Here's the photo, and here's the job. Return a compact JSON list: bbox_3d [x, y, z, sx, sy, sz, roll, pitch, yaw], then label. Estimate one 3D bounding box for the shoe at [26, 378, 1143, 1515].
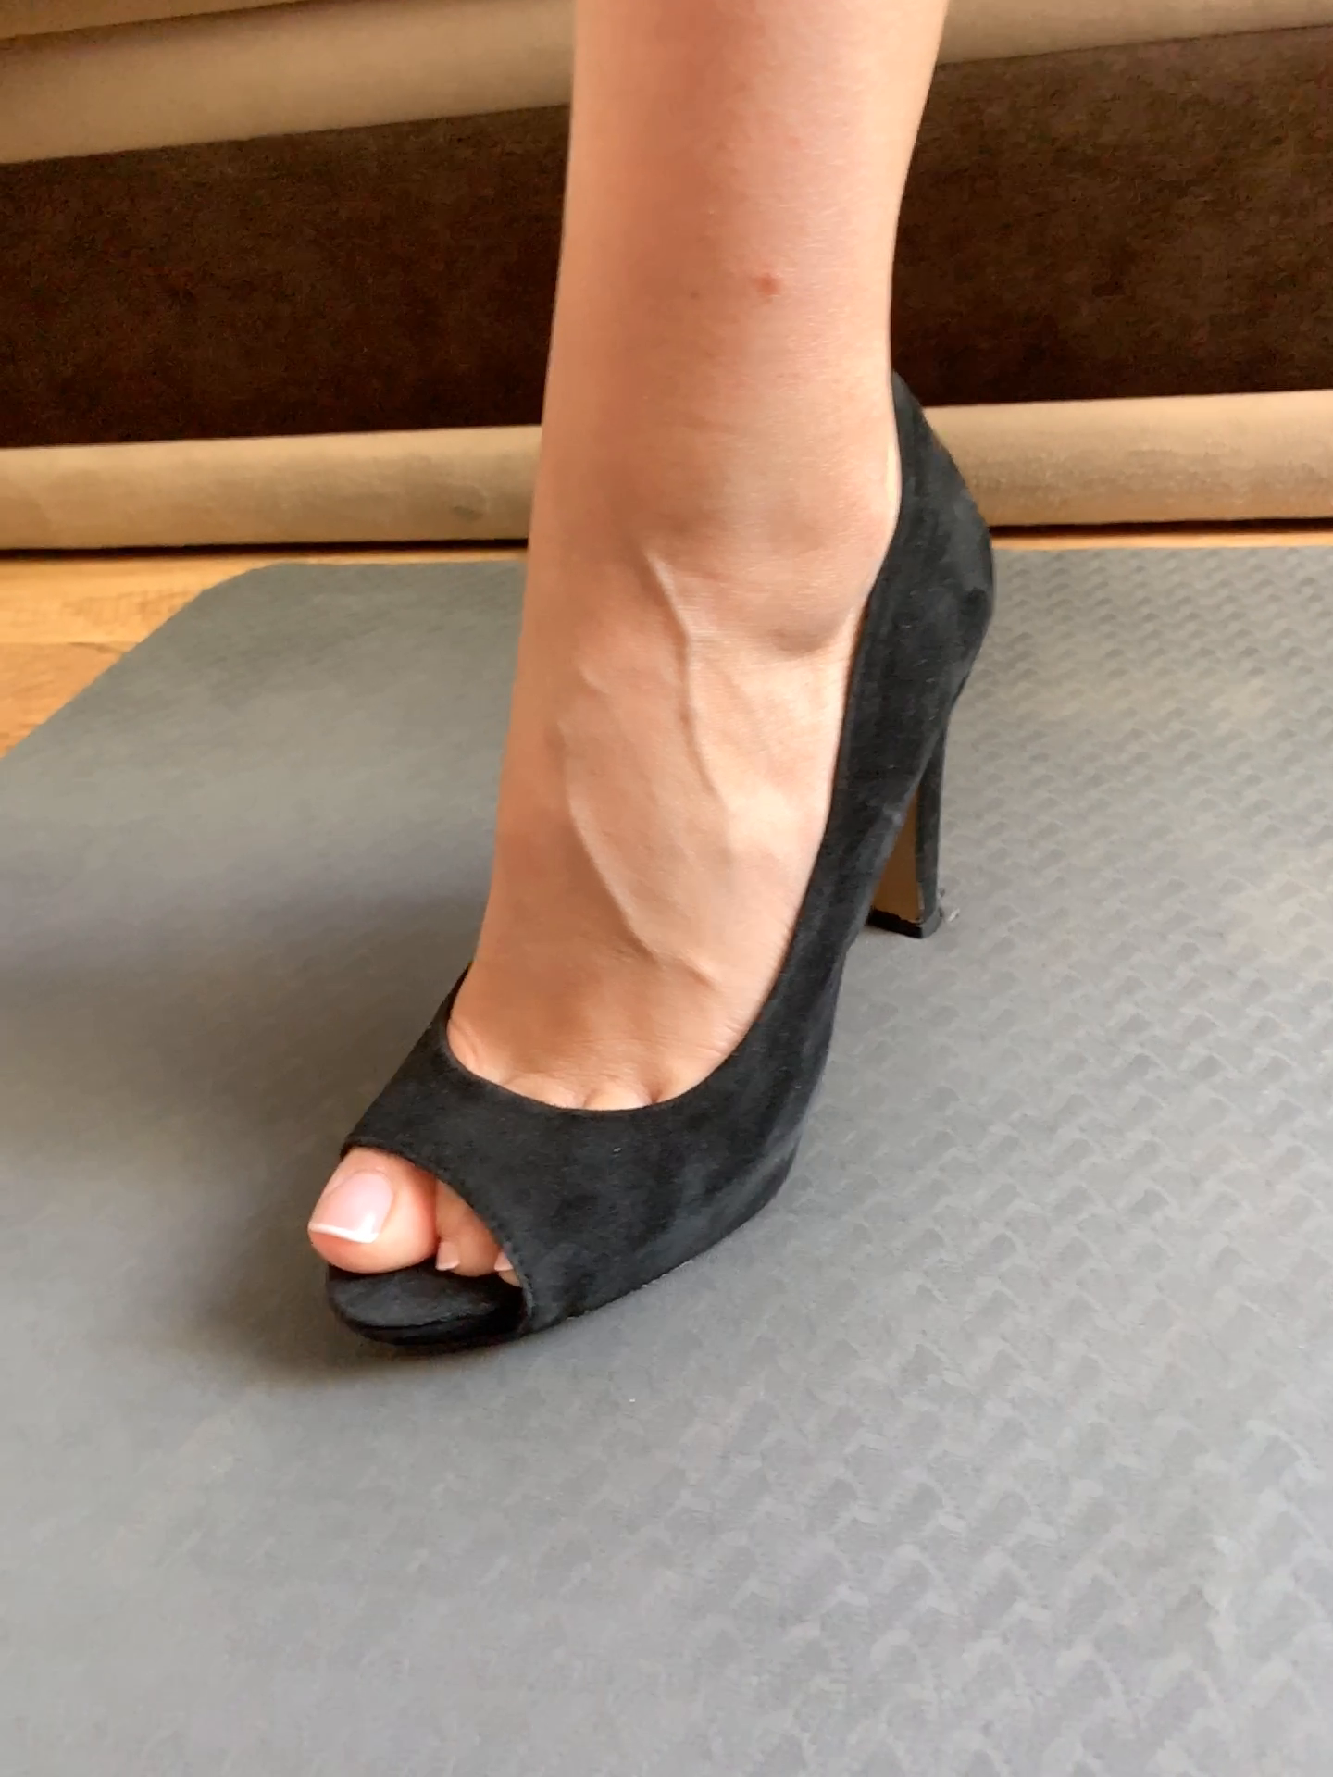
[{"bbox_3d":[0.005,-0.007,0.300,0.090,0.139,0.210,24,45,37],"label":"shoe"}]
